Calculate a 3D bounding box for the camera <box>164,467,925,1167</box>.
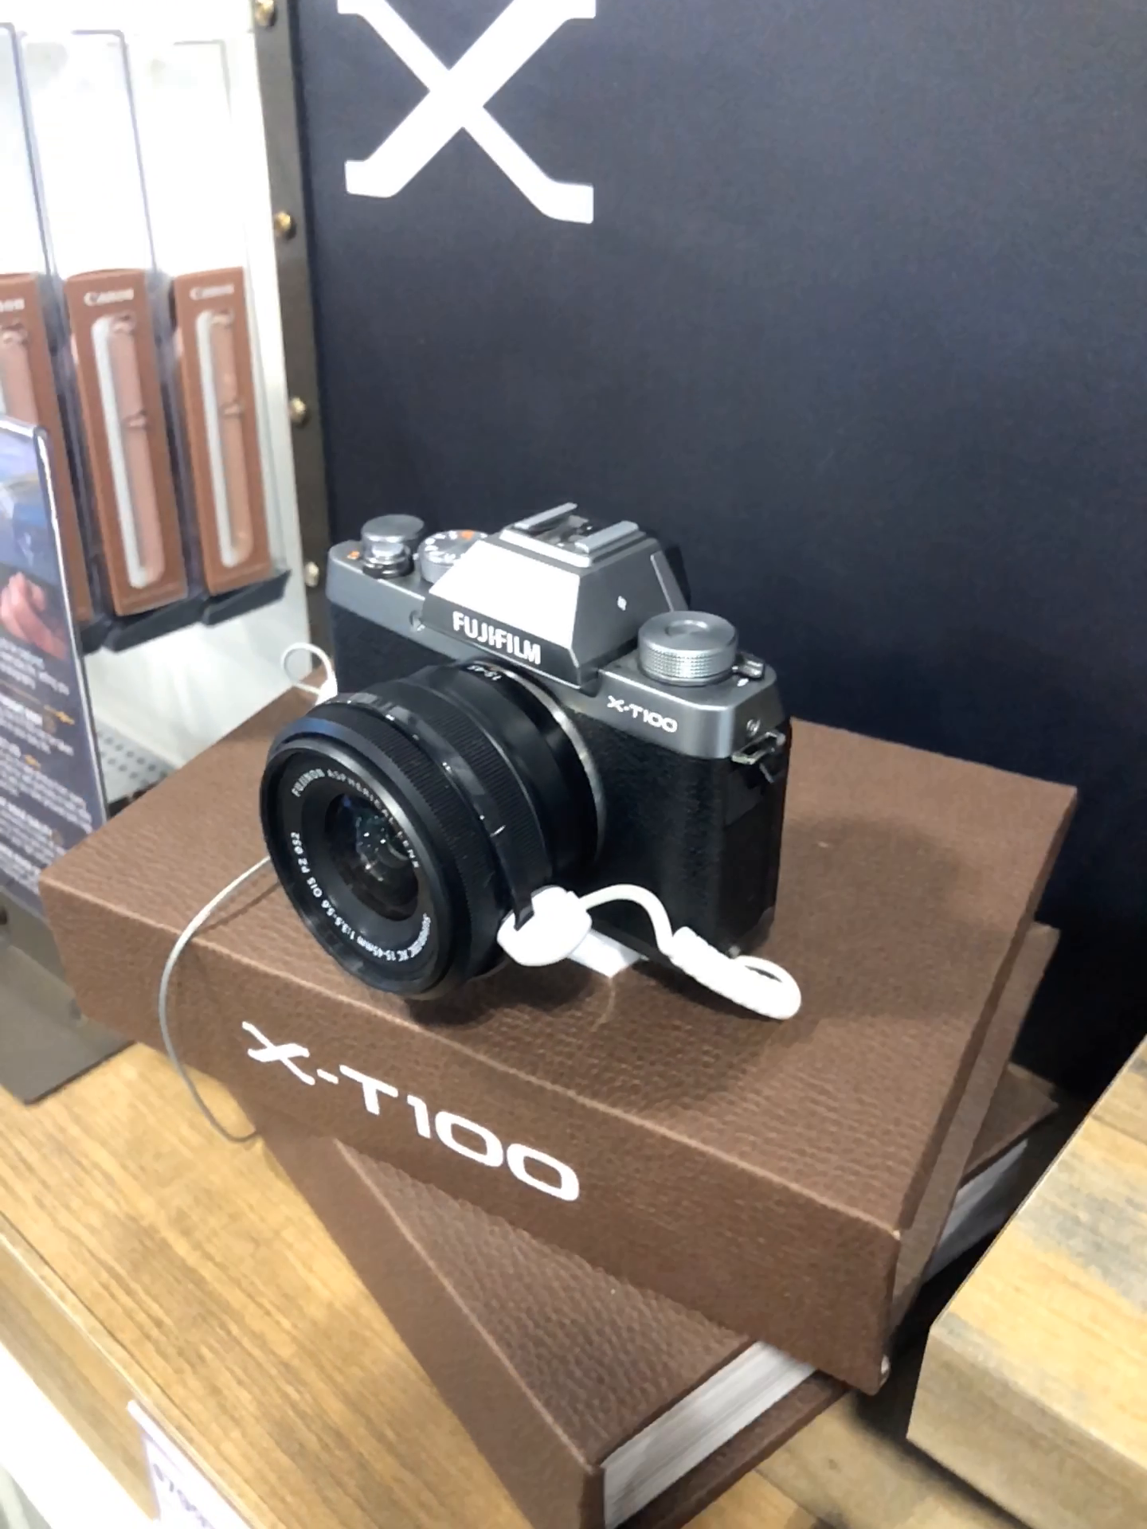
[{"bbox_3d":[-0.009,-0.002,0.295,0.131,0.089,0.100,24,36,36],"label":"camera"}]
